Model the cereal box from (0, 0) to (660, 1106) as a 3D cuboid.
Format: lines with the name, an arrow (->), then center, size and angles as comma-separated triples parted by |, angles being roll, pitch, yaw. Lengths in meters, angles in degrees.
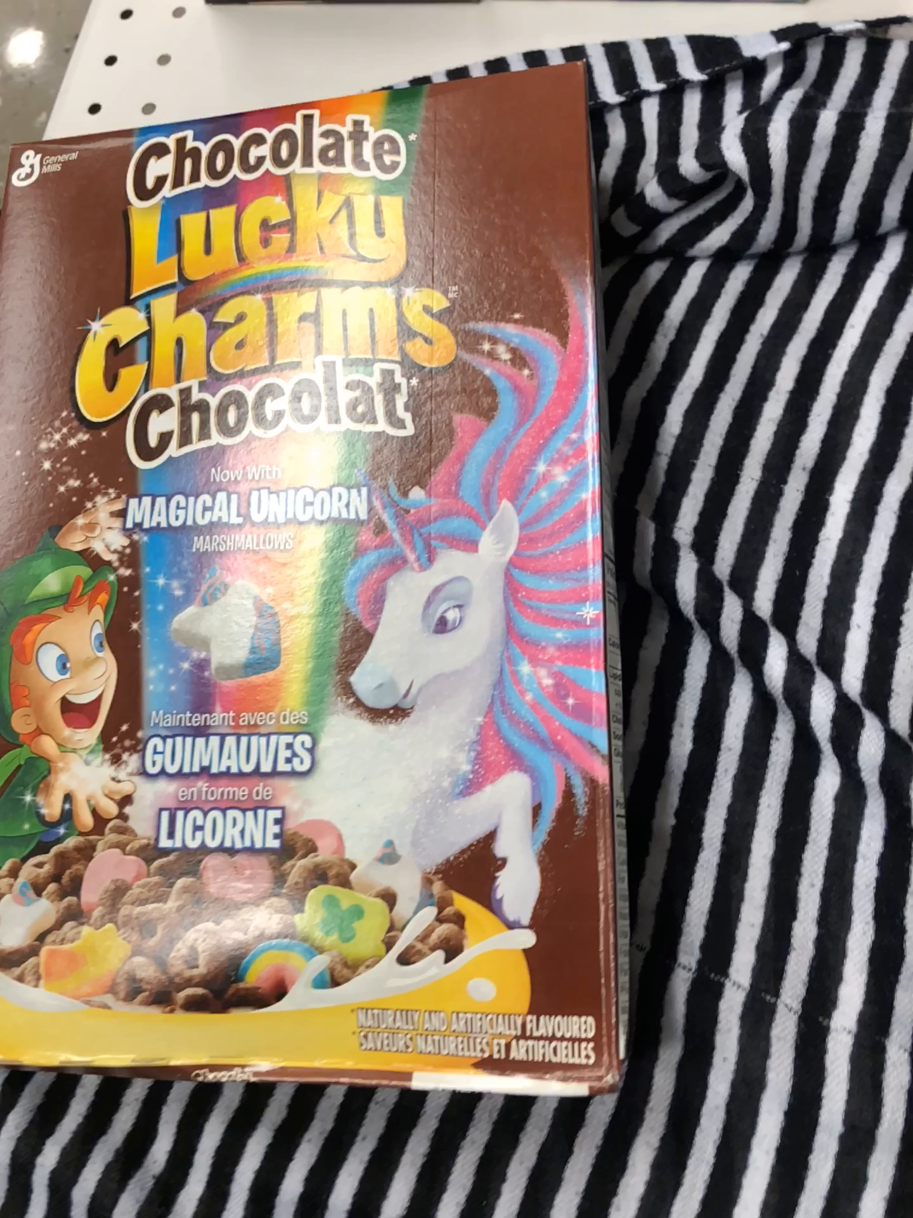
cereal box -> -0.055, -0.024, 0.299 | 0.210, 0.060, 0.290 | -3, 76, 11
